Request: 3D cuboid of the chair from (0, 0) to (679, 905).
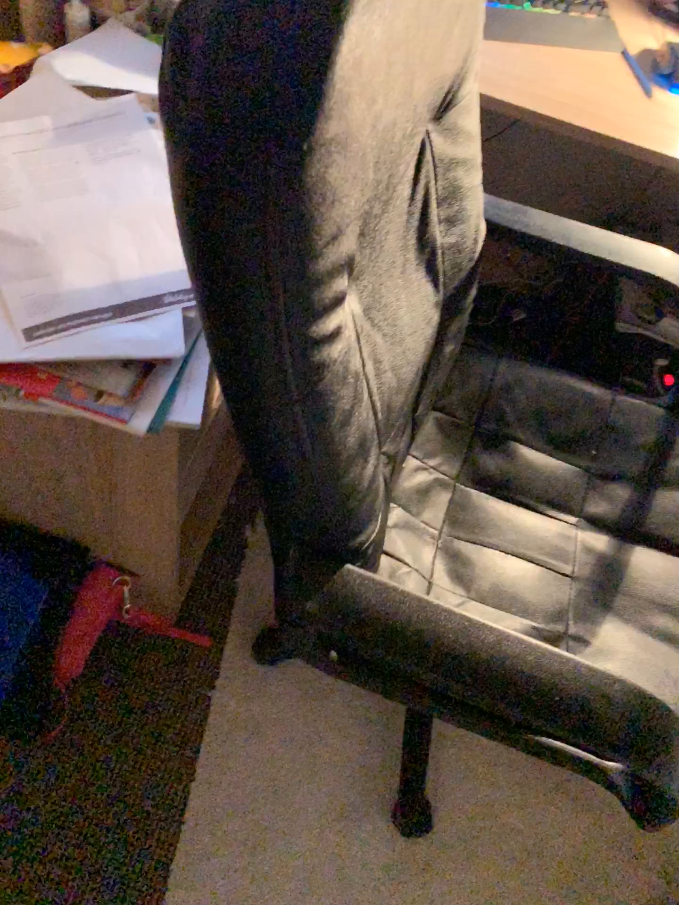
[{"bbox_3d":[0.227,0.044,0.851,0.650,1.162,0.715,18,57,4],"label":"chair"}]
